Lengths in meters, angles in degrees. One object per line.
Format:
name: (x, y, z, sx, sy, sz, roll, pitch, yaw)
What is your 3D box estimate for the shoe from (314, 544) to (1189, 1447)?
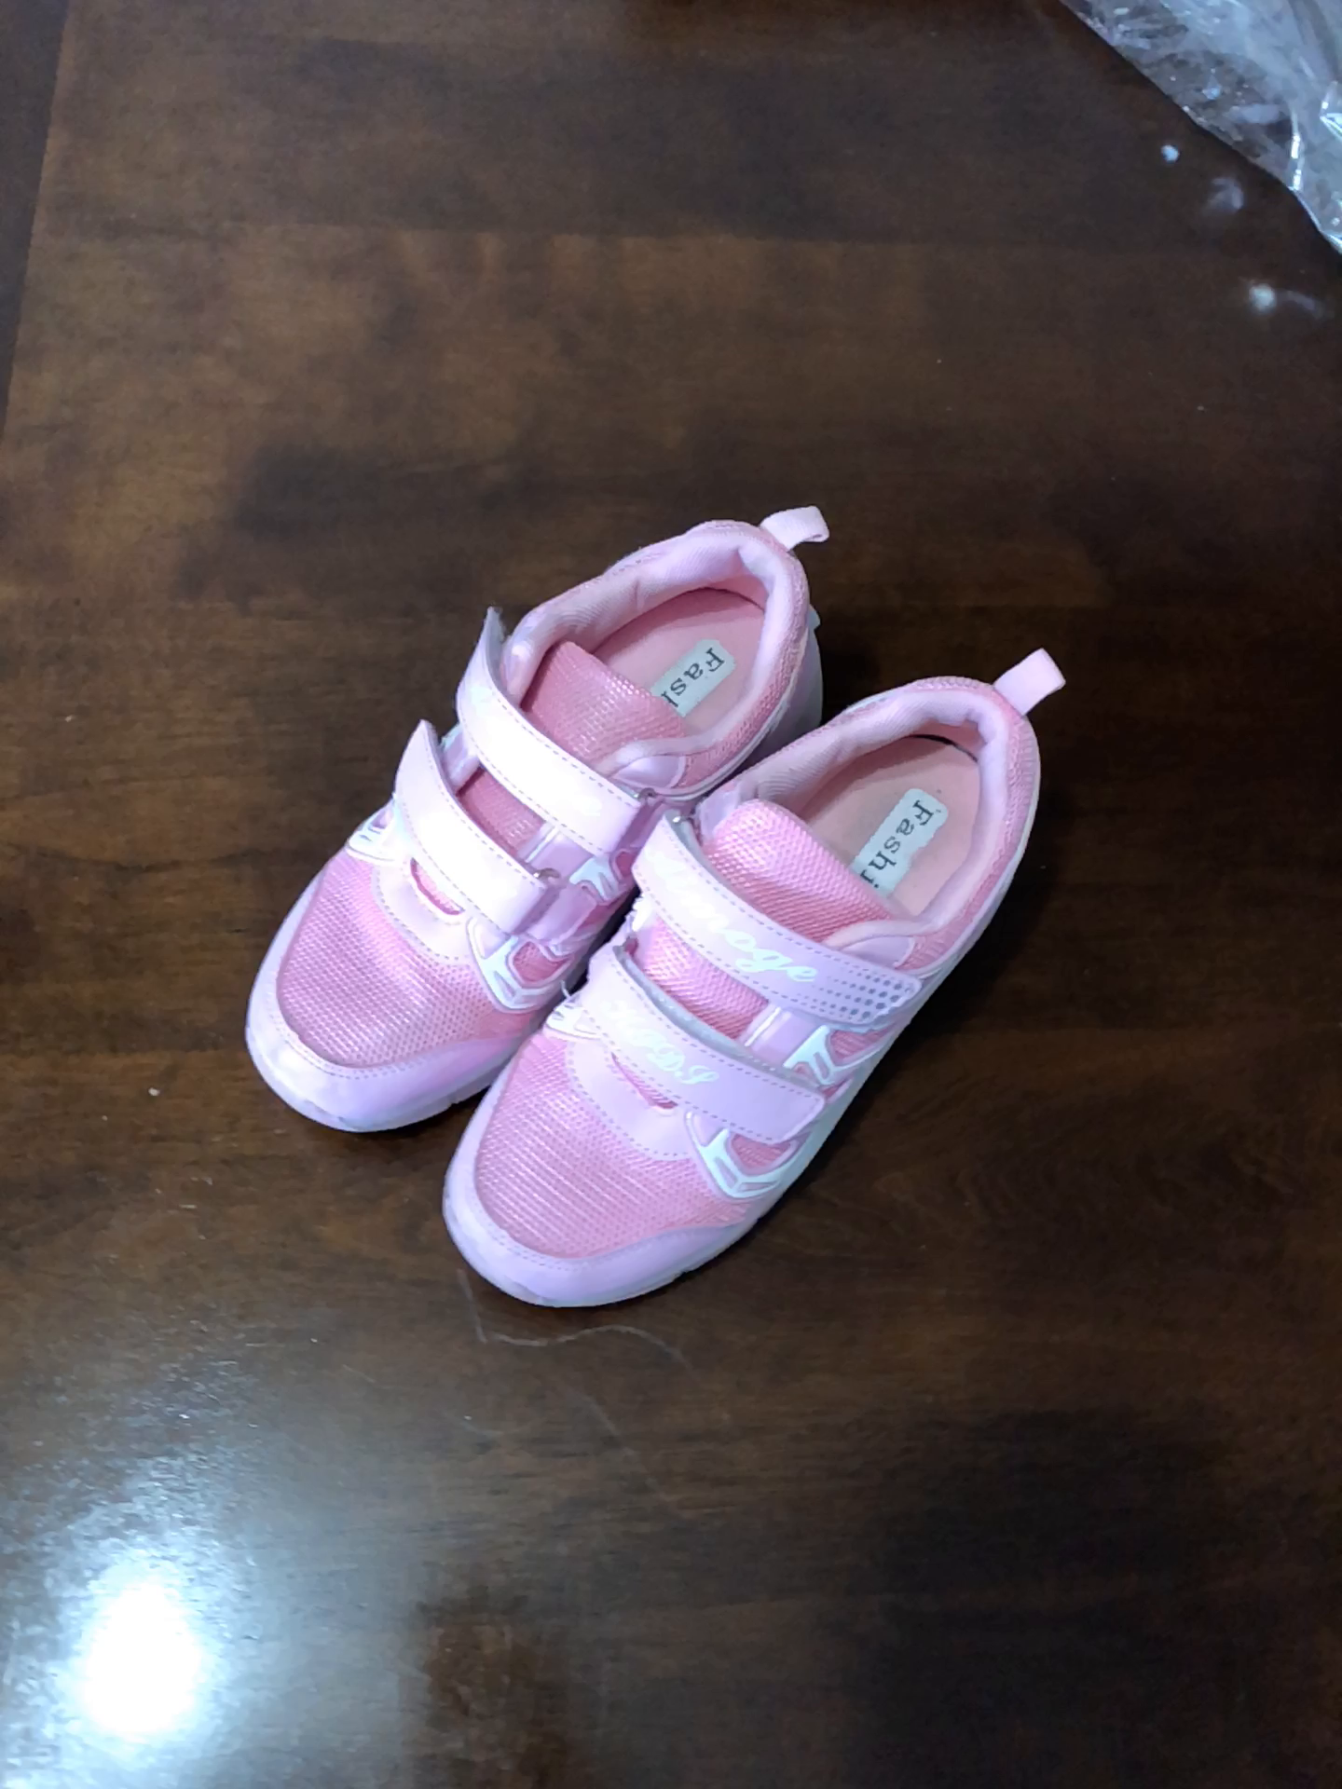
shoe: (0.029, 0.029, 0.473, 0.110, 0.110, 0.260, 40, 68, 12)

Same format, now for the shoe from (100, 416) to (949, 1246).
shoe: (-0.038, -0.023, 0.485, 0.100, 0.110, 0.250, 41, 68, 13)
